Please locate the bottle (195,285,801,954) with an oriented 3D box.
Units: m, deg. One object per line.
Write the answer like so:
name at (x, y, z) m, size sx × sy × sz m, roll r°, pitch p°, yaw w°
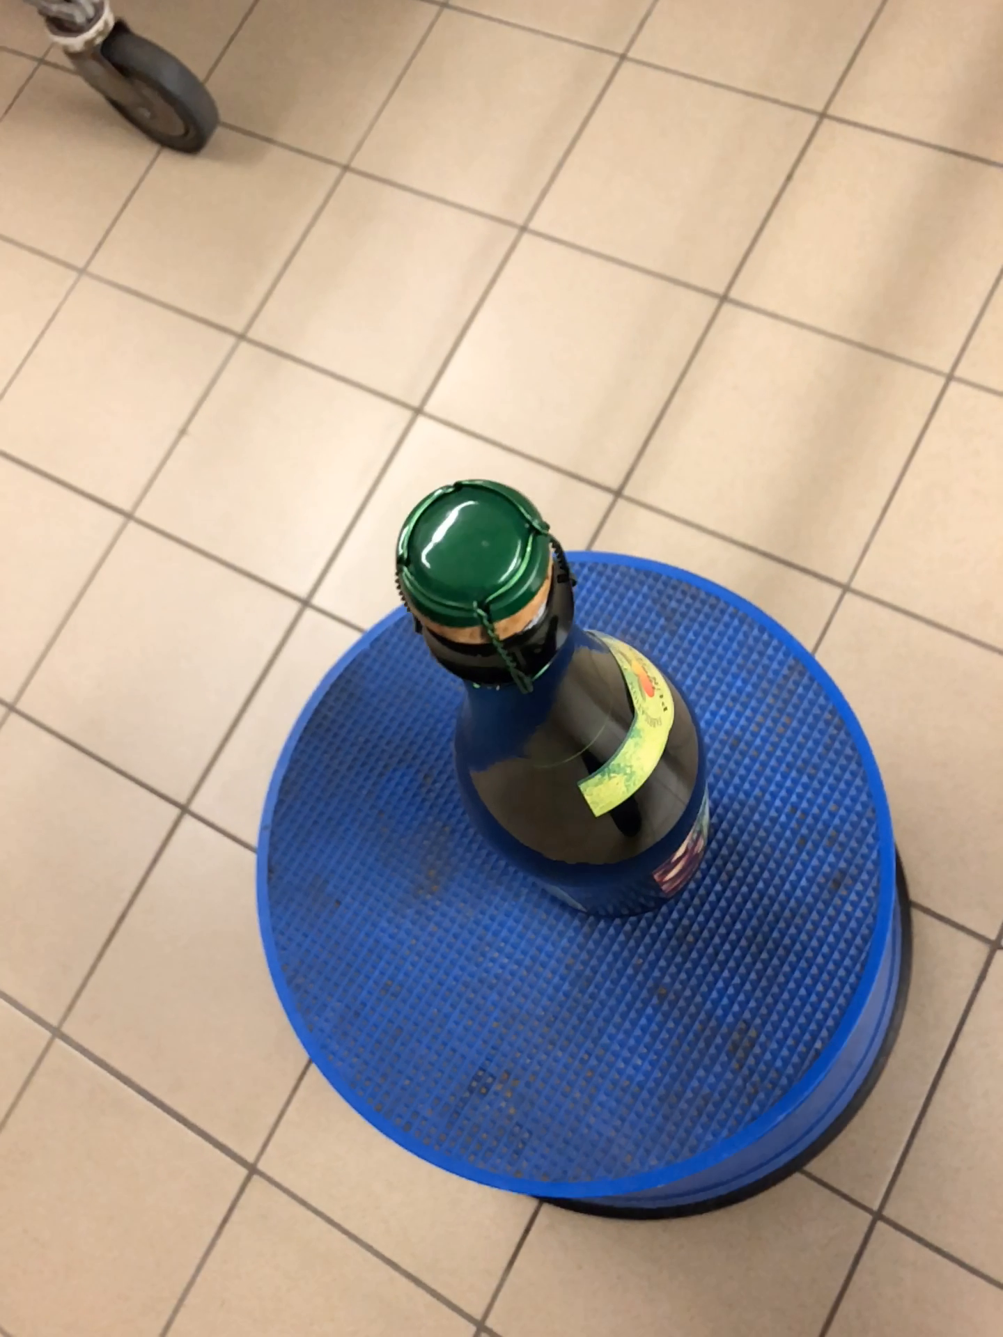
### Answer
bottle at (0.022, 0.024, 0.330) m, size 0.090 × 0.290 × 0.090 m, roll -3°, pitch 73°, yaw 11°
